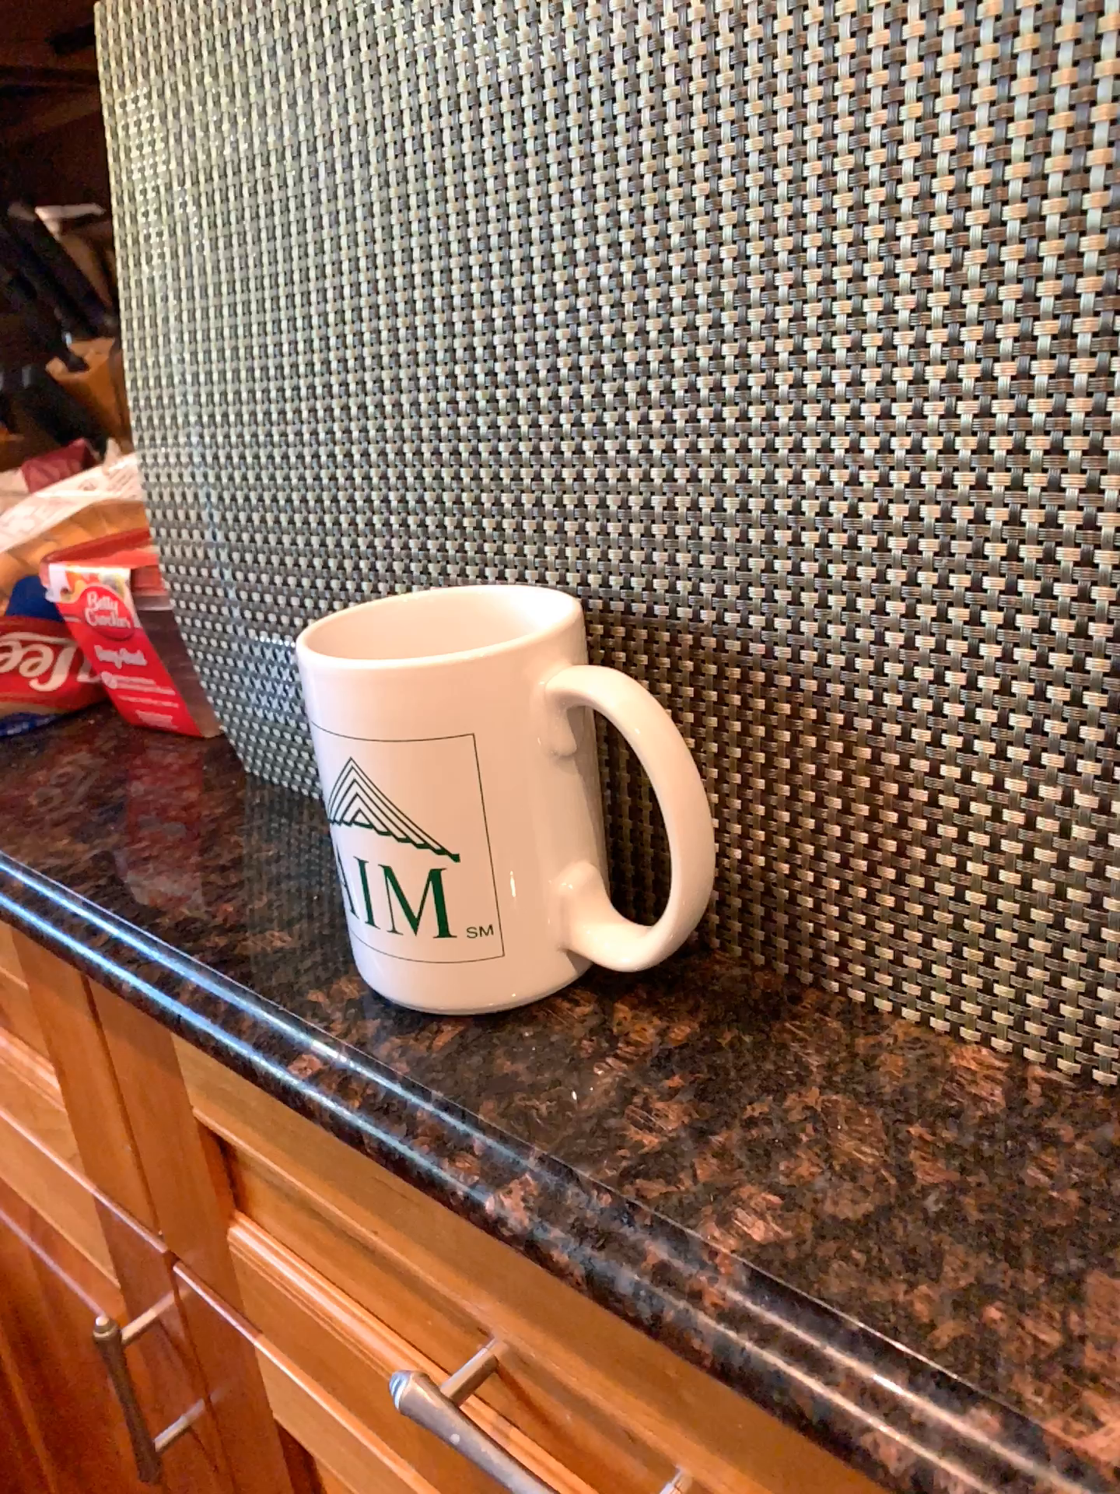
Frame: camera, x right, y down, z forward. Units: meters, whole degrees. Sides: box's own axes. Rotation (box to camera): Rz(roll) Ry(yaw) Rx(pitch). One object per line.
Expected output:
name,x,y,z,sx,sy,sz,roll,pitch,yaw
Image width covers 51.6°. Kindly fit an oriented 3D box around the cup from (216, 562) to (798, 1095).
cup,-0.011,0.012,0.339,0.130,0.109,0.090,7,25,33
